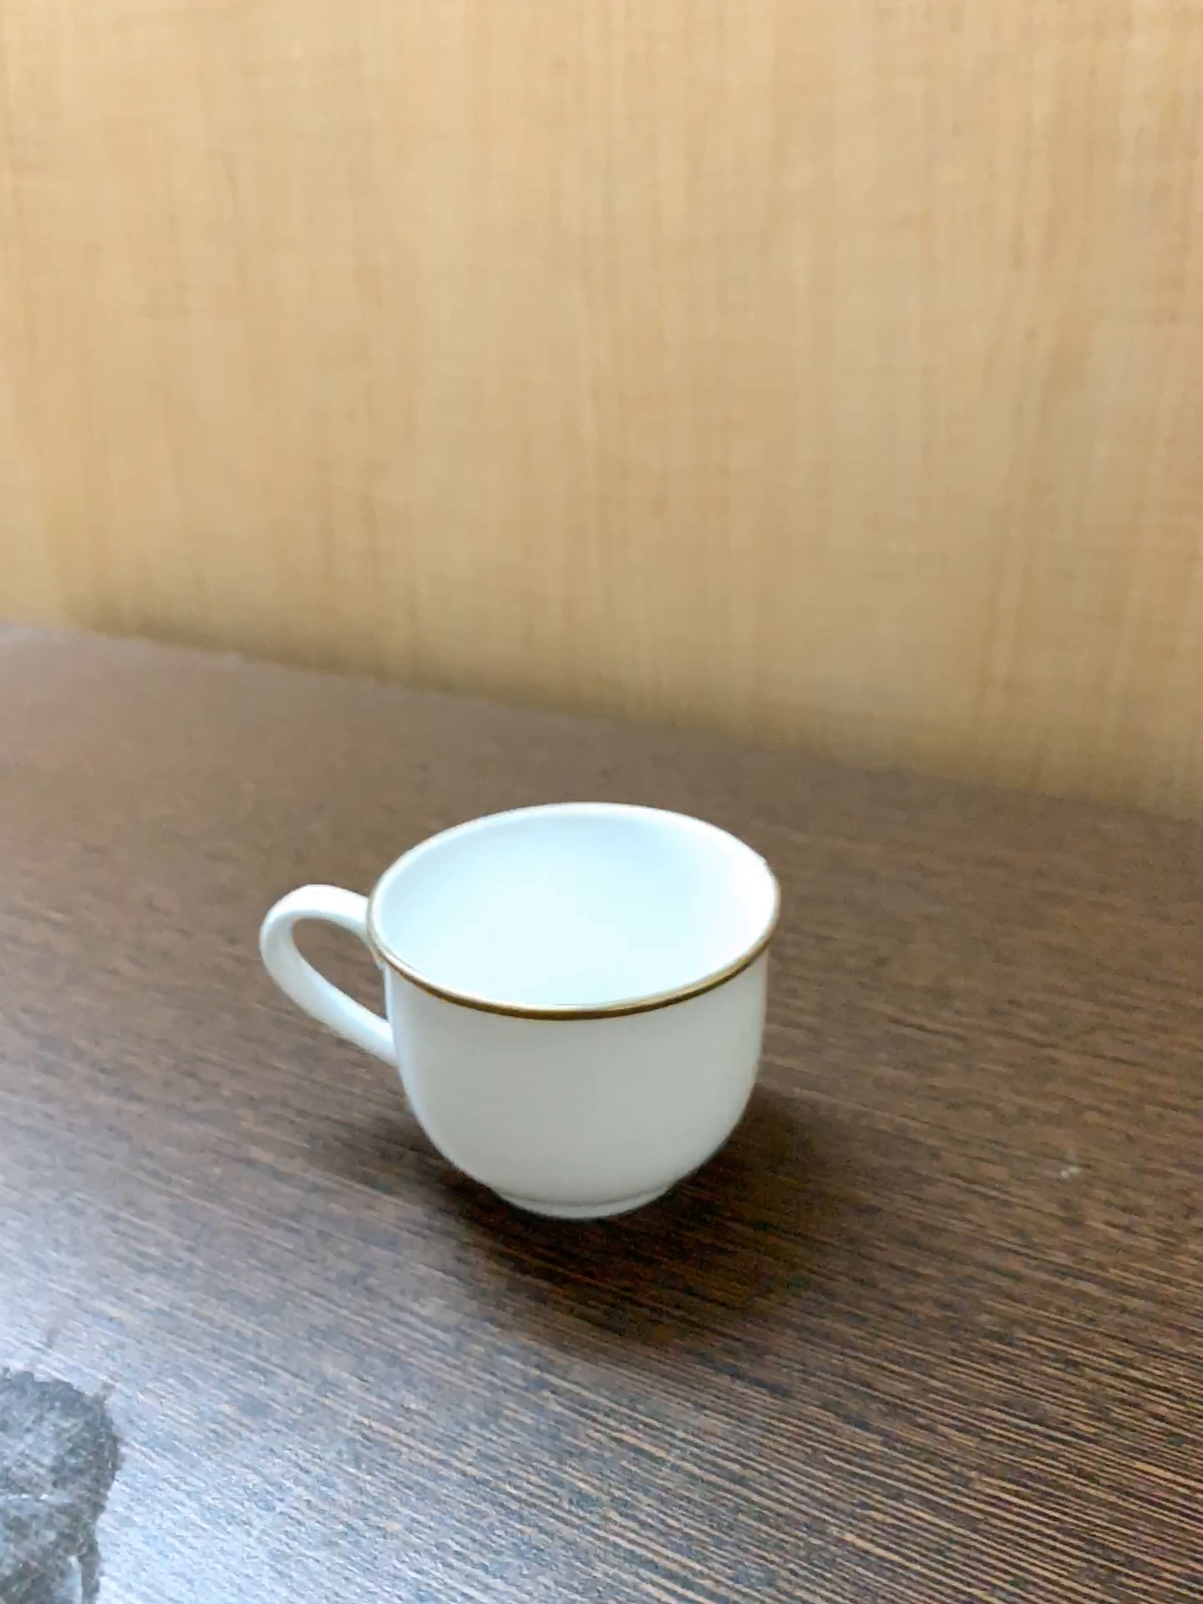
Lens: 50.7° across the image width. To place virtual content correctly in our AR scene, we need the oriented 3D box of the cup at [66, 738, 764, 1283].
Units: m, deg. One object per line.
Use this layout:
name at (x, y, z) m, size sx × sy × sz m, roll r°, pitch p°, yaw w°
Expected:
cup at (-0.024, 0.028, 0.205) m, size 0.090 × 0.050 × 0.060 m, roll 6°, pitch 25°, yaw 14°
